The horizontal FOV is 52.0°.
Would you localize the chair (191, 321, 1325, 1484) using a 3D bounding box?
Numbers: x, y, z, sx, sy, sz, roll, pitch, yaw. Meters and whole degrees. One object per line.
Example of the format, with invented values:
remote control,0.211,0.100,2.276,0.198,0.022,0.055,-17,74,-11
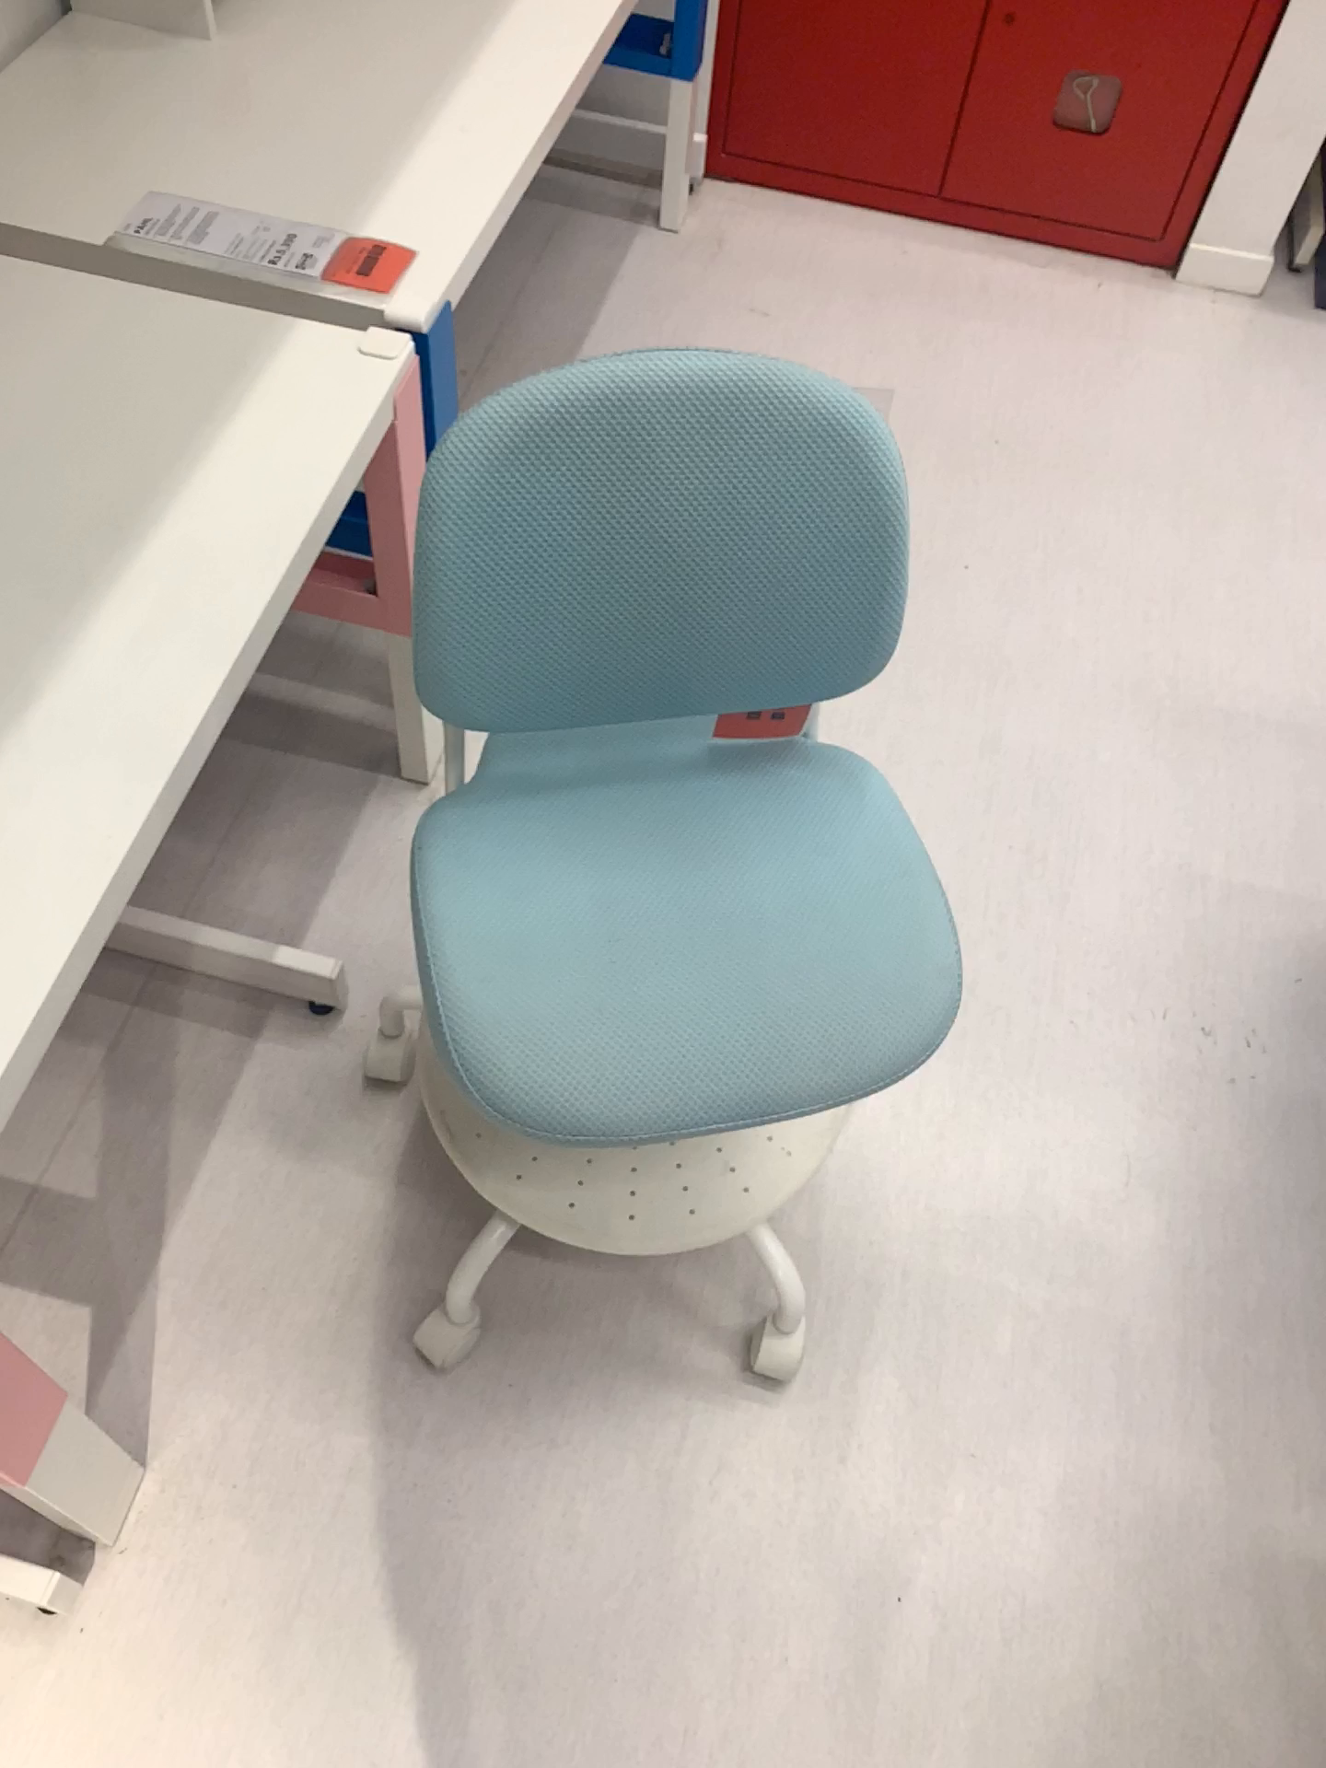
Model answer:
chair,-0.007,0.042,1.121,0.580,0.678,0.611,-8,57,-10
